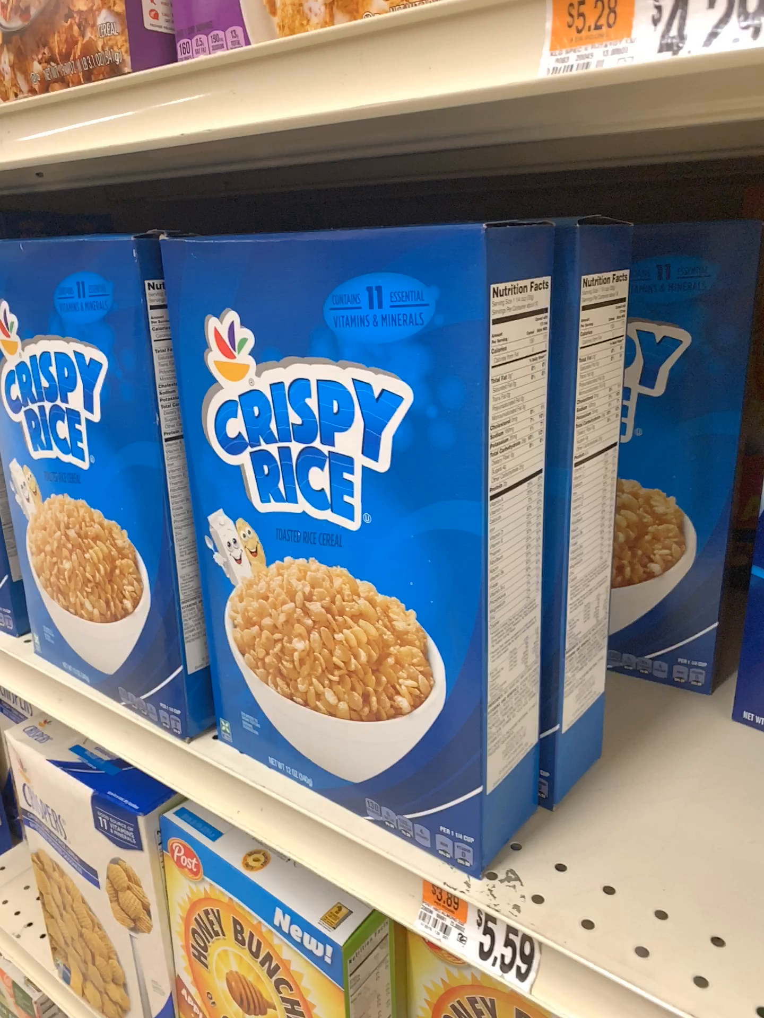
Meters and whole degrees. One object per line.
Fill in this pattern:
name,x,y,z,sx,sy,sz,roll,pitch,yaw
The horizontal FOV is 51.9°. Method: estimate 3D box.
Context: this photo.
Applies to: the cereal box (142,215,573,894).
cereal box,-0.015,0.014,0.429,0.210,0.319,0.070,12,24,36
